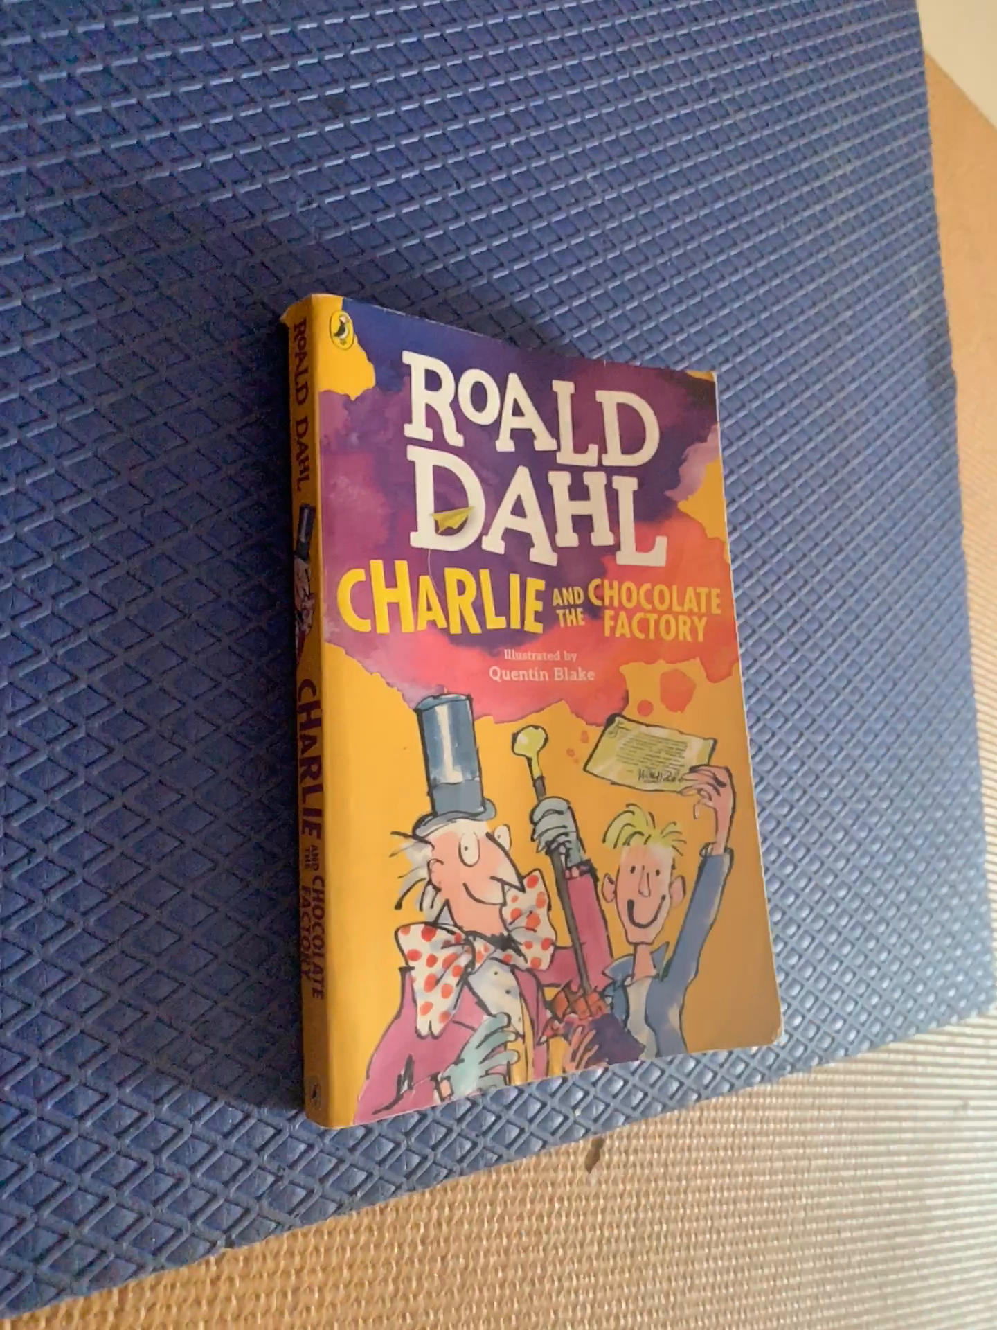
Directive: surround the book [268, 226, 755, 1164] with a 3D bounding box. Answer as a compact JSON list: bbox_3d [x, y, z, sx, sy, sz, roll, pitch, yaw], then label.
[{"bbox_3d":[0.009,0.004,0.283,0.141,0.020,0.210,2,83,-38],"label":"book"}]
